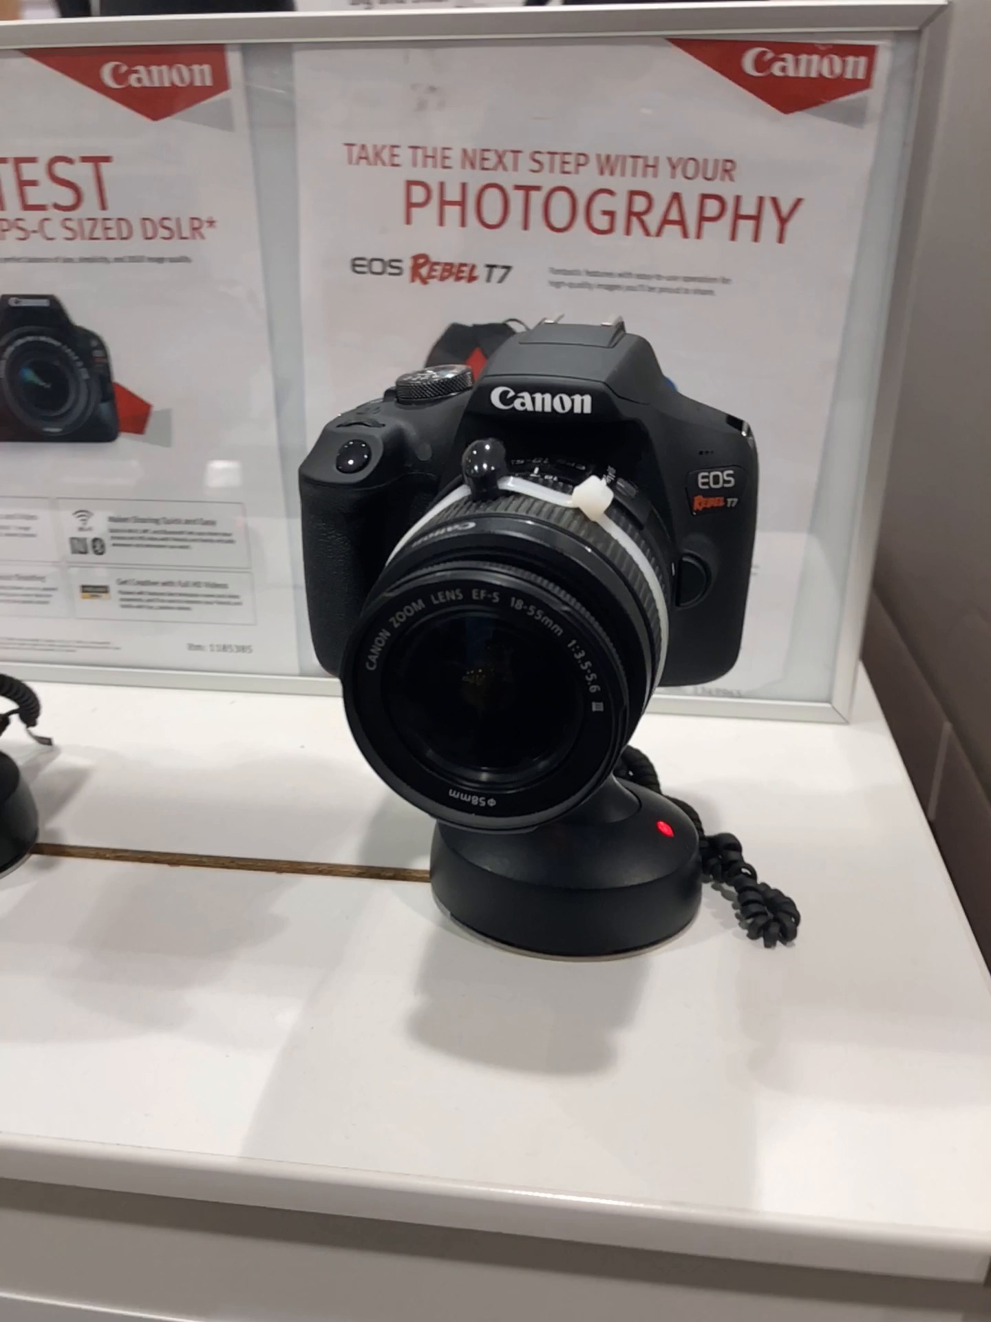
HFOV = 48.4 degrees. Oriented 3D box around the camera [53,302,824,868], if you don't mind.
[{"bbox_3d":[-0.001,-0.033,0.277,0.140,0.090,0.141,4,25,9],"label":"camera"}]
